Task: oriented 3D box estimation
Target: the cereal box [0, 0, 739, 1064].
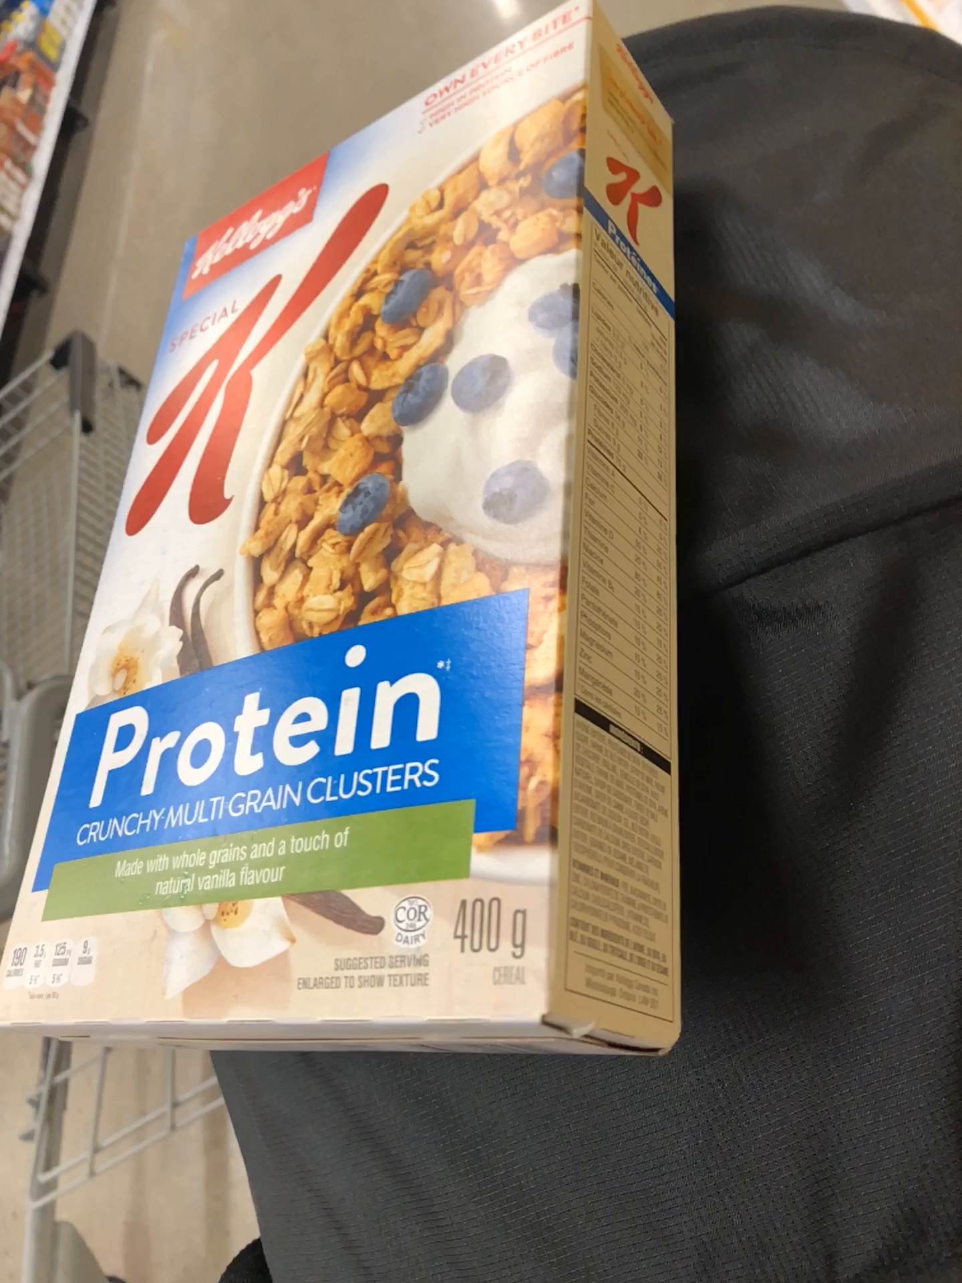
[{"bbox_3d":[-0.033,-0.037,0.285,0.191,0.050,0.270,-15,56,35],"label":"cereal box"}]
